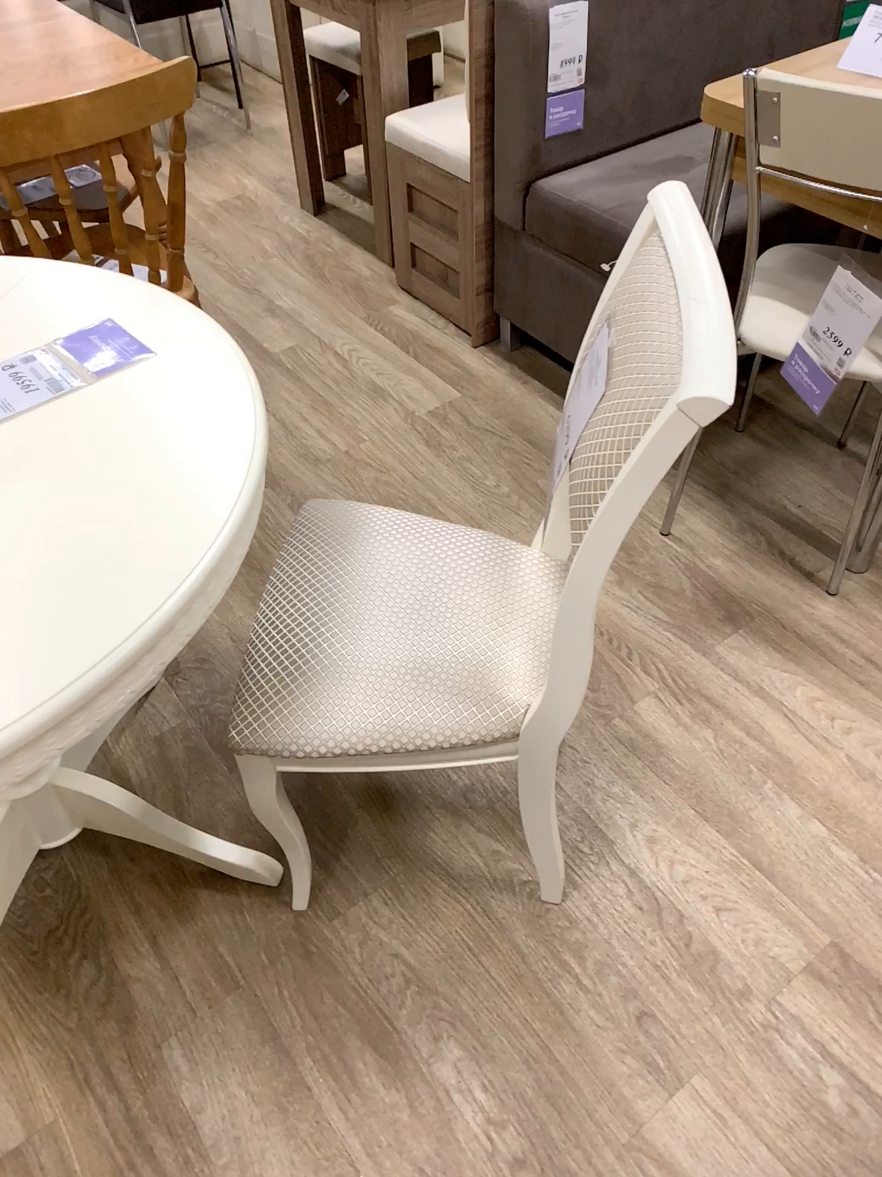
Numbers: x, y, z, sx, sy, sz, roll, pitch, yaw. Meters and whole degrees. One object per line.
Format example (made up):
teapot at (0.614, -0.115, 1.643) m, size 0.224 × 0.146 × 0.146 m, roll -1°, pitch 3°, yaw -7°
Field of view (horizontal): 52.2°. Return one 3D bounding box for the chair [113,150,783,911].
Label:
chair at (0.021, -0.004, 1.171) m, size 0.510 × 0.905 × 0.462 m, roll 0°, pitch 46°, yaw 2°
